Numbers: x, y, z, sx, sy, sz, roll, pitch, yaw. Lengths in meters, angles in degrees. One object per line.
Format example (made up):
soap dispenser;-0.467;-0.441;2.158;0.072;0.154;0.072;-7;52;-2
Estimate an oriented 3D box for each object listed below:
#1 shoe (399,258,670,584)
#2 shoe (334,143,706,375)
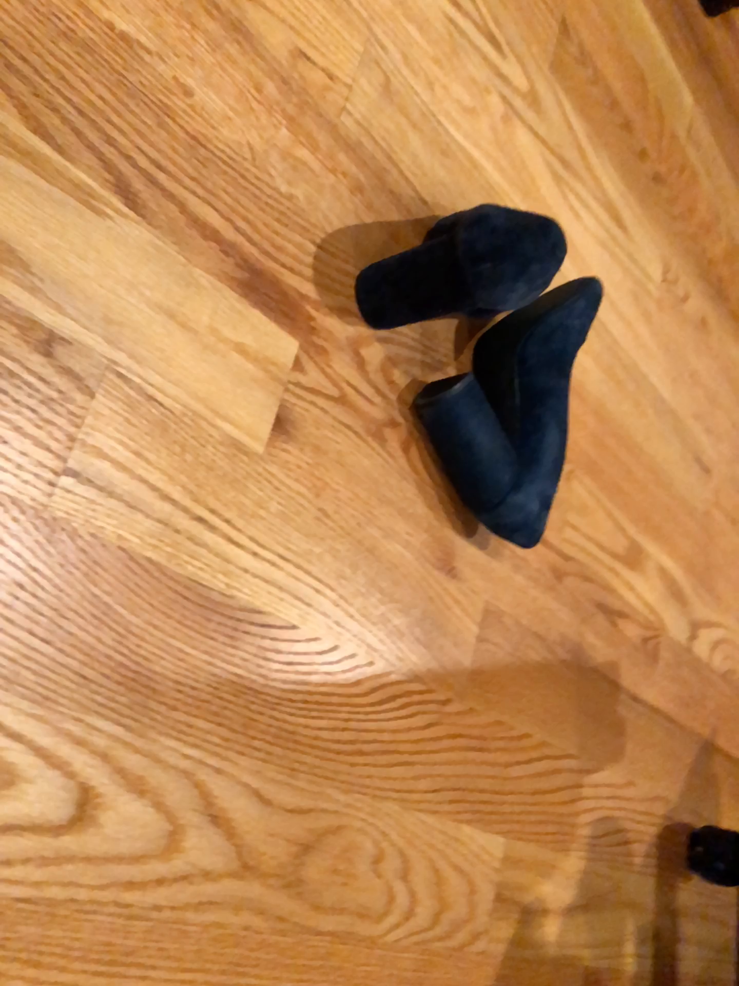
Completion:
shoe;0.136;-0.056;0.618;0.205;0.080;0.152;-48;120;-38
shoe;0.113;-0.163;0.559;0.227;0.146;0.080;-32;110;-44
